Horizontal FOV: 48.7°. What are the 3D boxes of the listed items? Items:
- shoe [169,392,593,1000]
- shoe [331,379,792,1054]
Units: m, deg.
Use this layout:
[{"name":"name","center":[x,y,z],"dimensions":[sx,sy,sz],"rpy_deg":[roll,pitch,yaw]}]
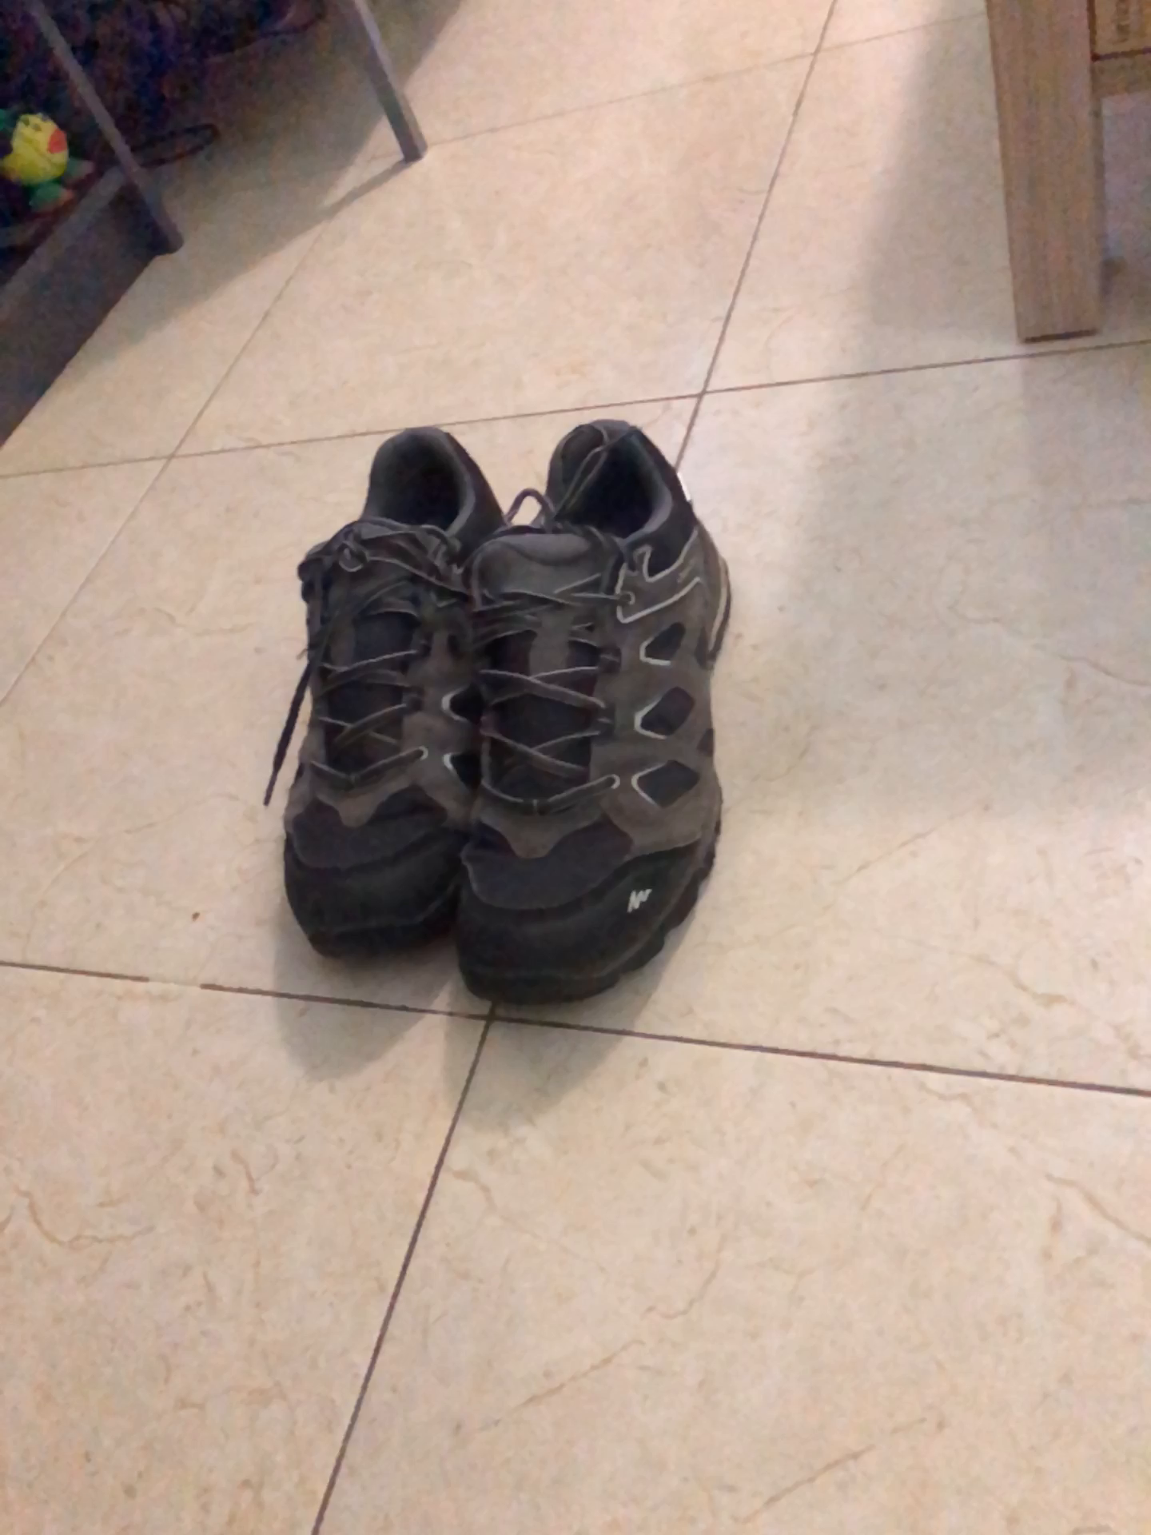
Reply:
[{"name":"shoe","center":[-0.083,-0.046,0.667],"dimensions":[0.120,0.110,0.311],"rpy_deg":[-7,49,20]},{"name":"shoe","center":[0.012,-0.035,0.604],"dimensions":[0.120,0.110,0.311],"rpy_deg":[-2,51,24]}]
